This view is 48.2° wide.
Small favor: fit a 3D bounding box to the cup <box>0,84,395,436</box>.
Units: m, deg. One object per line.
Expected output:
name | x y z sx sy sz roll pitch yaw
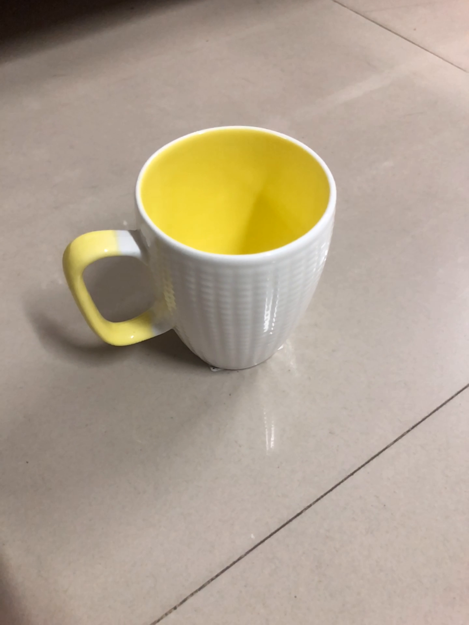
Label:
cup | -0.017 -0.023 0.213 0.120 0.080 0.080 -19 55 -13
